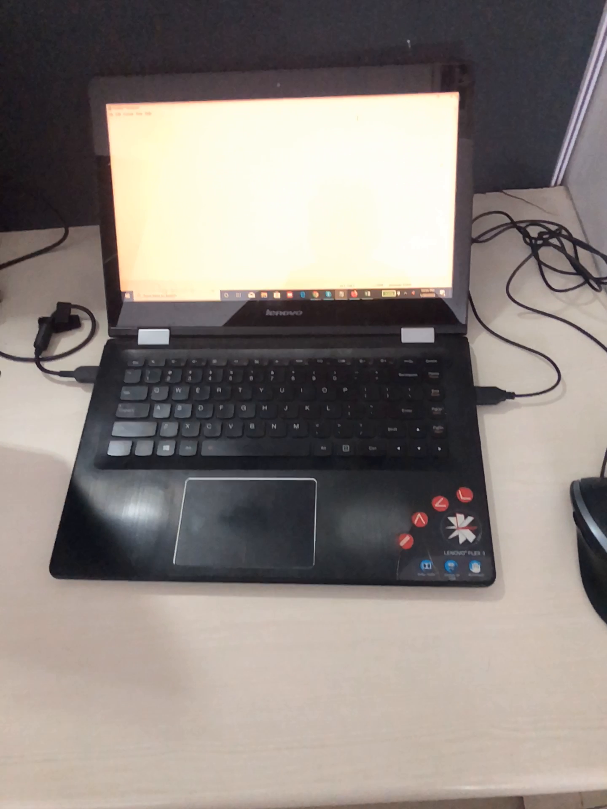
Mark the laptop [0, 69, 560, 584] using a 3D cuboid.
[{"bbox_3d":[-0.025,-0.077,0.533,0.334,0.171,0.387,0,55,4],"label":"laptop"}]
